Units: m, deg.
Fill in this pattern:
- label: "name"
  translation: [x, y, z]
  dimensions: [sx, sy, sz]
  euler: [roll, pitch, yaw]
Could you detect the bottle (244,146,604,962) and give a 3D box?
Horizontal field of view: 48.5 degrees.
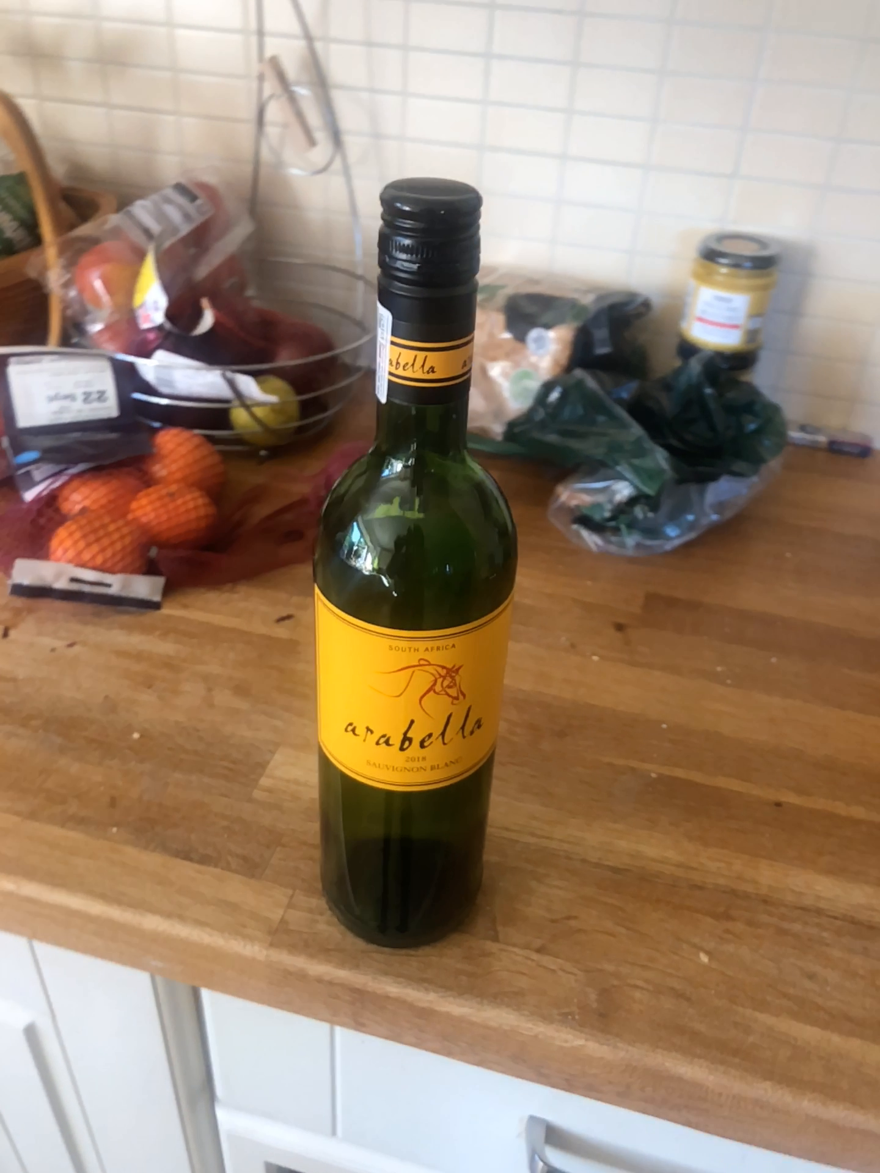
- label: "bottle"
  translation: [-0.009, 0.007, 0.366]
  dimensions: [0.090, 0.297, 0.091]
  euler: [2, 35, -2]
